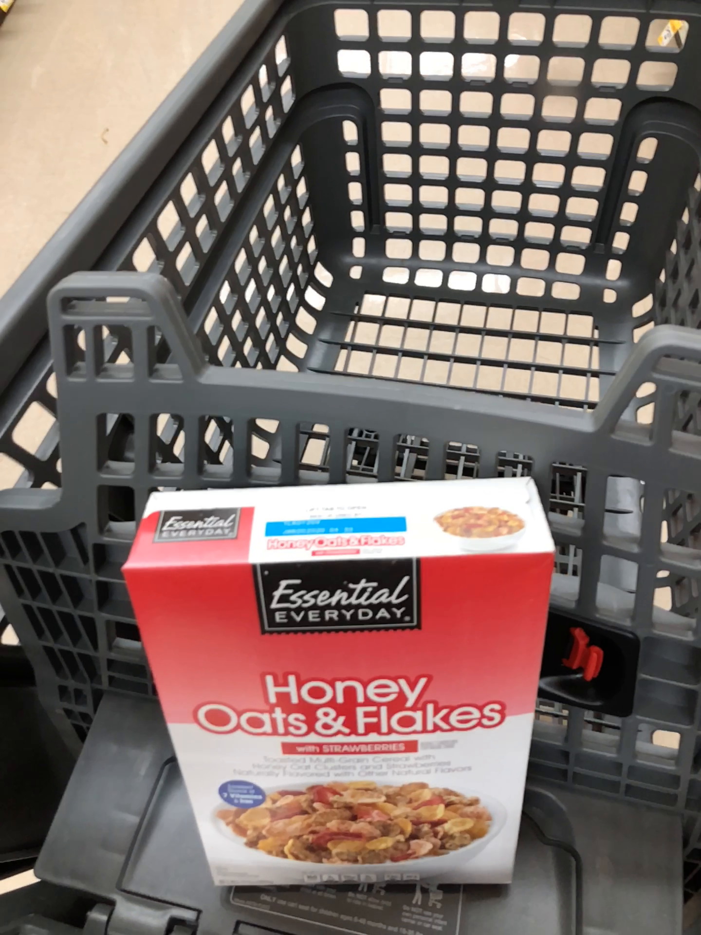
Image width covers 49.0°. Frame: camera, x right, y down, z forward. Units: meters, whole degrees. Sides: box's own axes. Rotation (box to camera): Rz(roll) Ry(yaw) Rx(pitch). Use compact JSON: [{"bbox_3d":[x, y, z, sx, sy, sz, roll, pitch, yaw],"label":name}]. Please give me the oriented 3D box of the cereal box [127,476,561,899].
[{"bbox_3d":[0.004,0.132,0.414,0.180,0.260,0.060,-2,33,2],"label":"cereal box"}]
